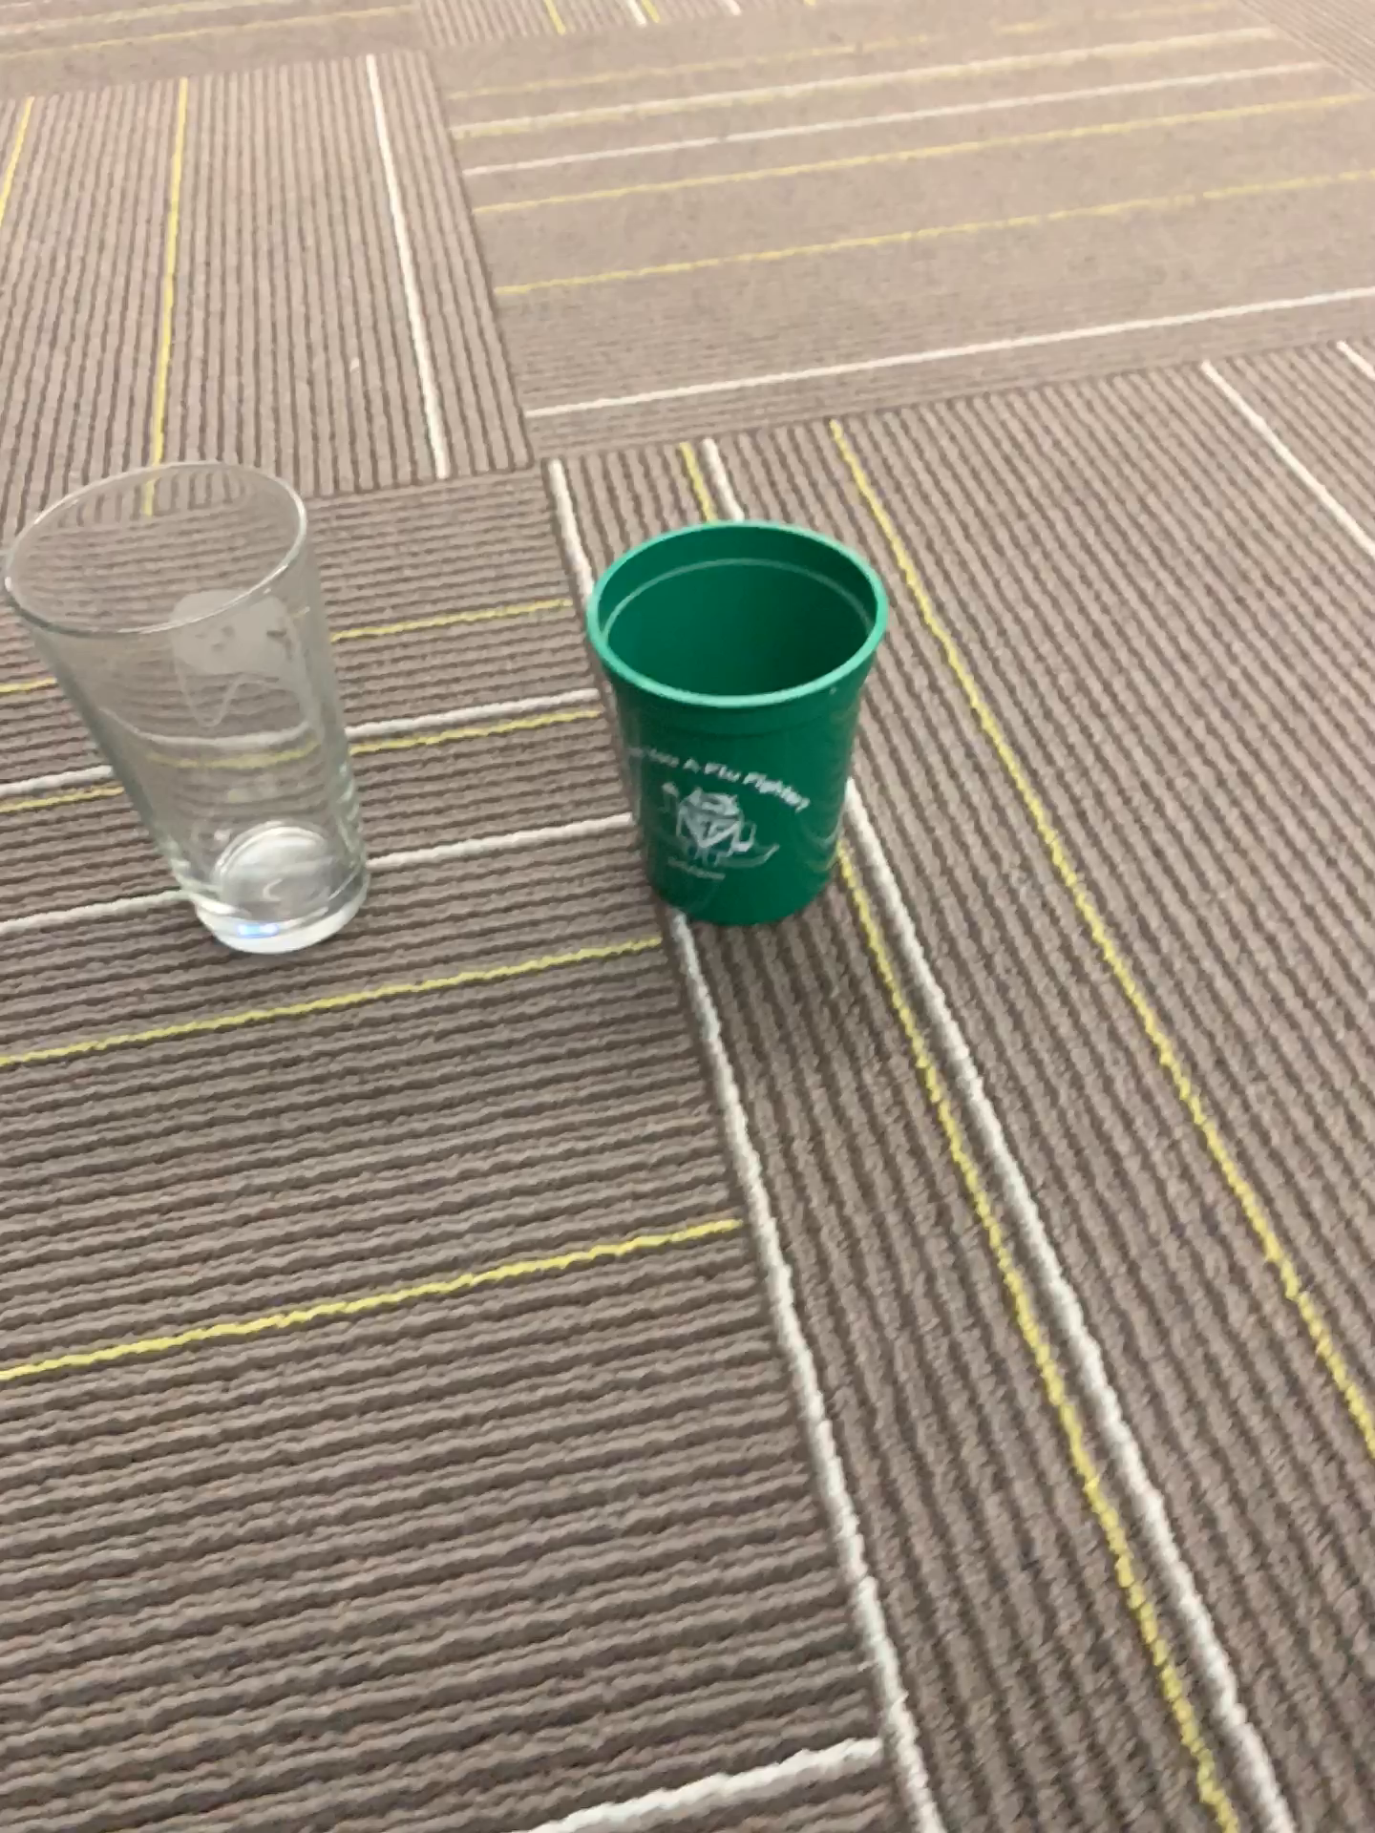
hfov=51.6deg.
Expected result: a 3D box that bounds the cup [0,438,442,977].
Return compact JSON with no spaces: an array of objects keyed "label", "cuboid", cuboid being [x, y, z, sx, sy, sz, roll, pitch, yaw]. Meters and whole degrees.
[{"label":"cup","cuboid":[-0.147,-0.064,0.455,0.090,0.139,0.090,-2,48,2]}]

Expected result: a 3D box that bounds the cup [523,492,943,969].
[{"label":"cup","cuboid":[0.019,-0.064,0.482,0.100,0.099,0.100,-2,48,2]}]
